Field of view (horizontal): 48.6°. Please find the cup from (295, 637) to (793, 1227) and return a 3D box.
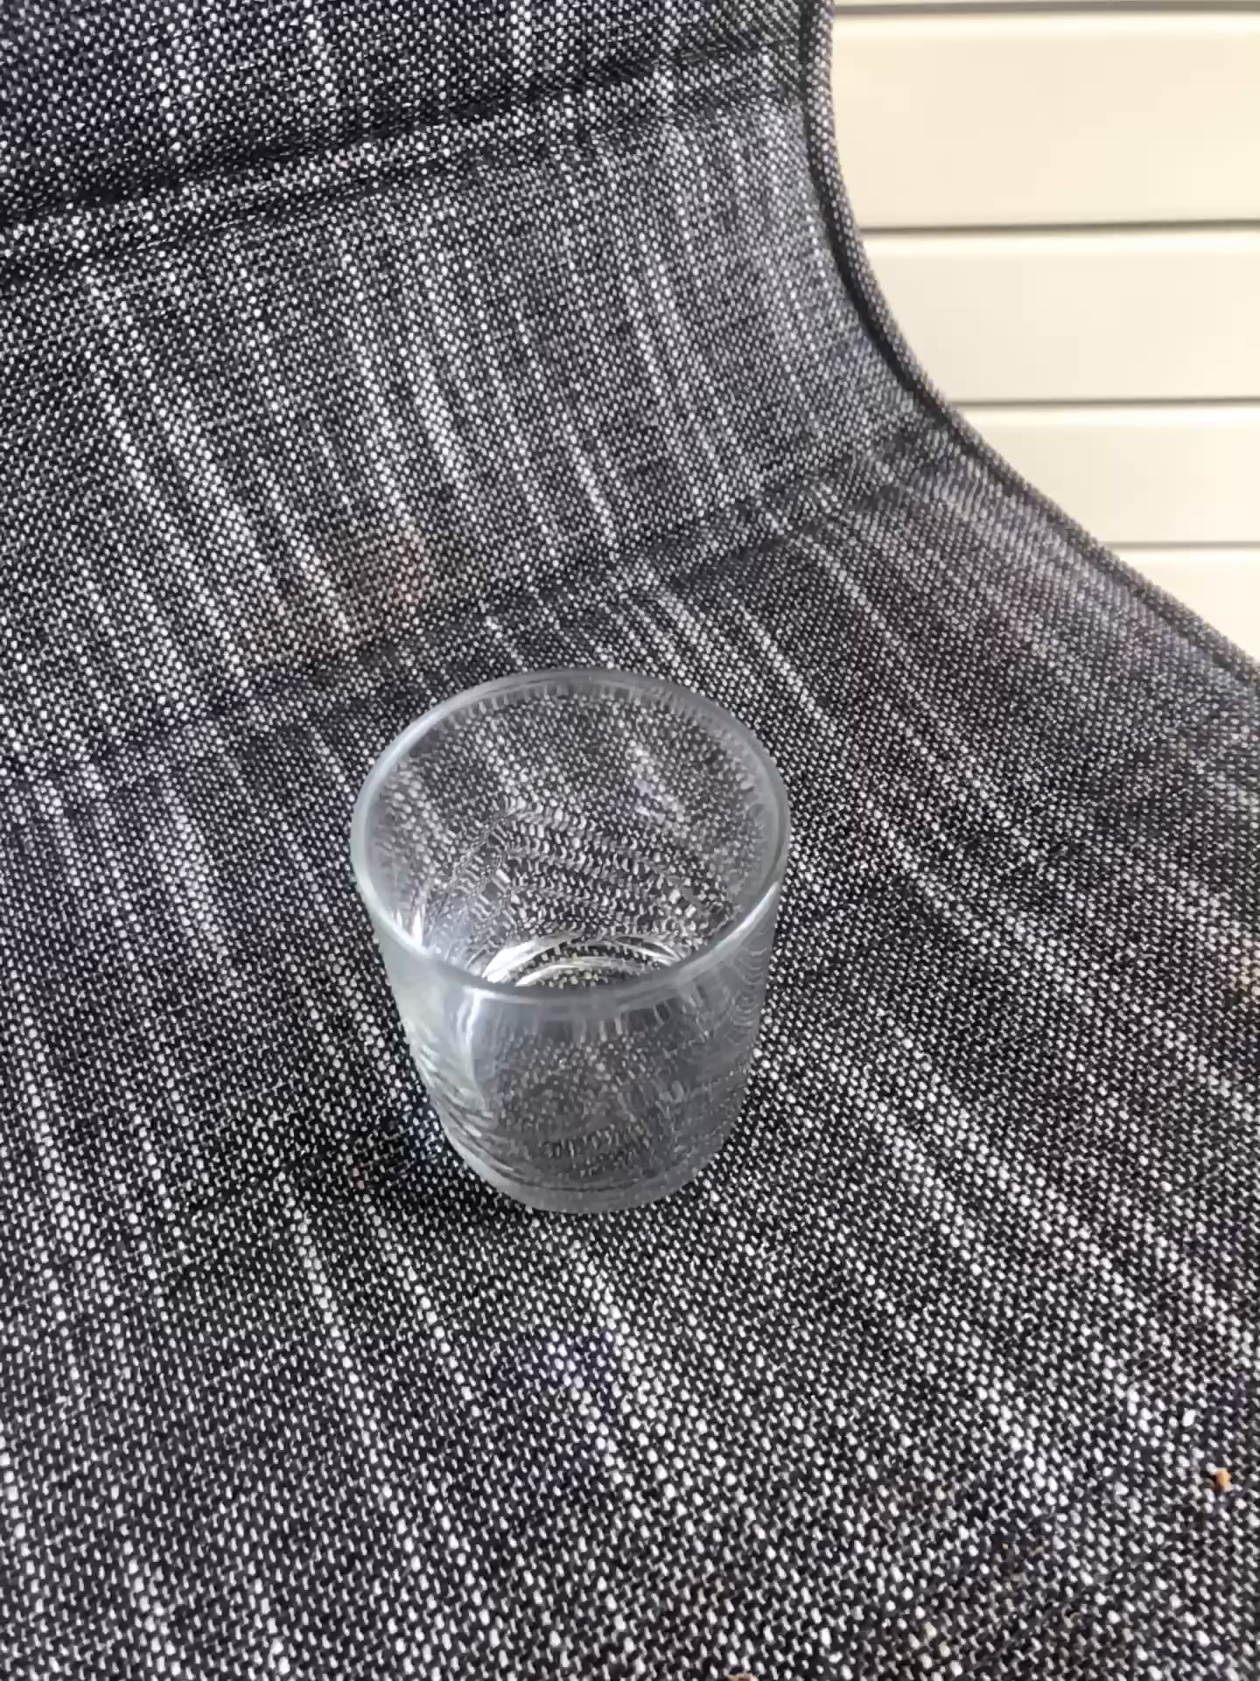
[{"bbox_3d":[-0.010,0.018,0.249,0.070,0.080,0.070,-1,52,1],"label":"cup"}]
